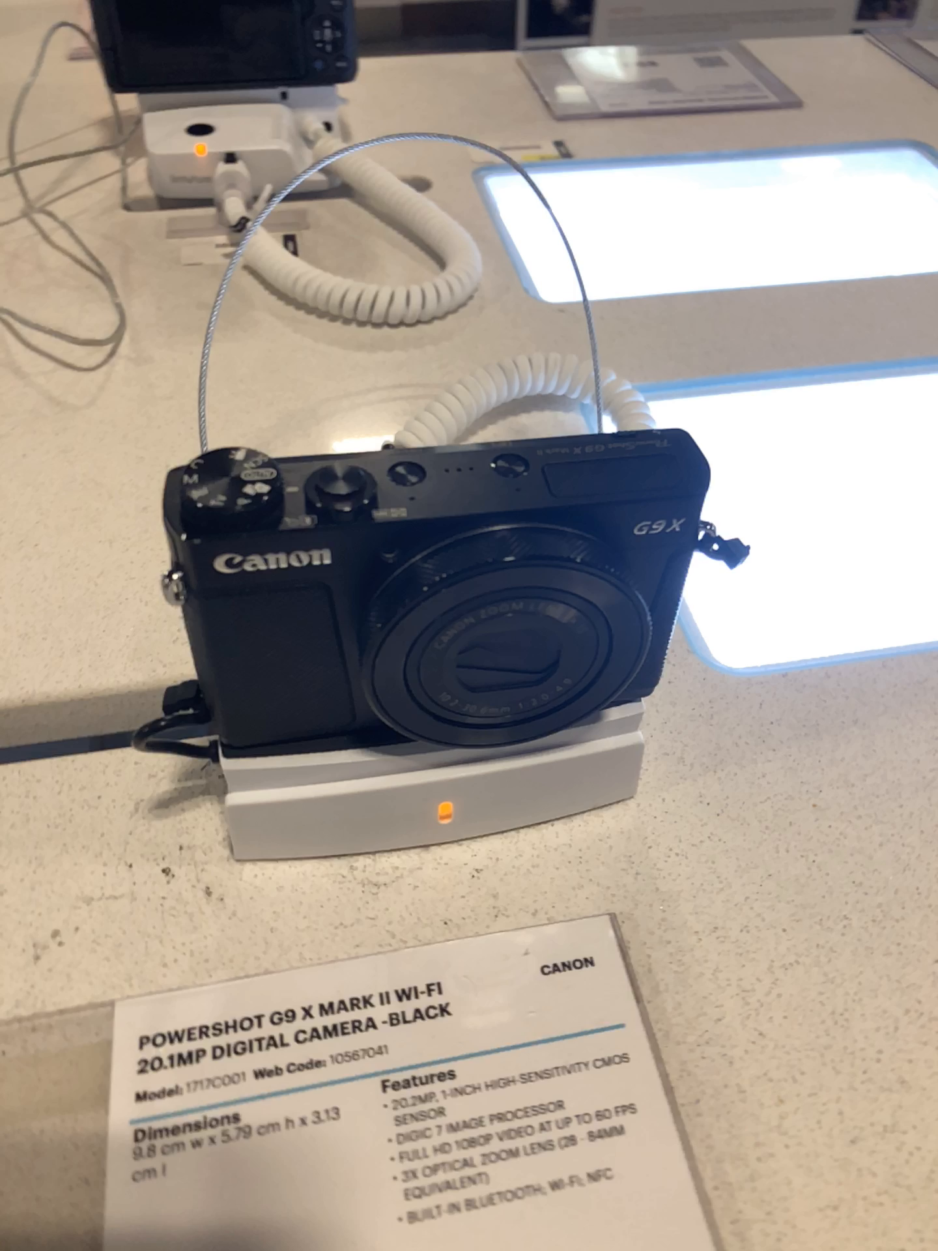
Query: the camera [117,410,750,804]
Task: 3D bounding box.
[{"bbox_3d":[-0.007,-0.003,0.194,0.100,0.060,0.030,-6,45,-7],"label":"camera"}]
